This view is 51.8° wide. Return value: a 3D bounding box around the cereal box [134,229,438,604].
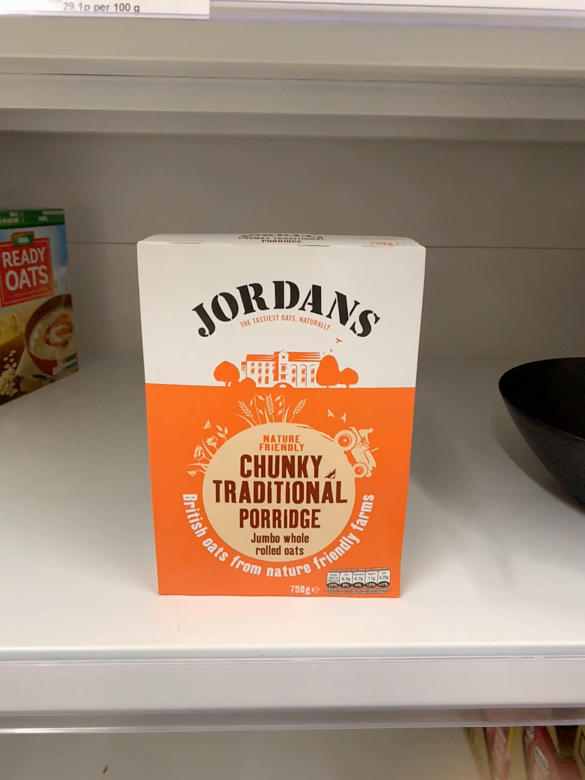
[{"bbox_3d":[-0.006,0.023,0.444,0.190,0.268,0.060,1,17,-1],"label":"cereal box"}]
